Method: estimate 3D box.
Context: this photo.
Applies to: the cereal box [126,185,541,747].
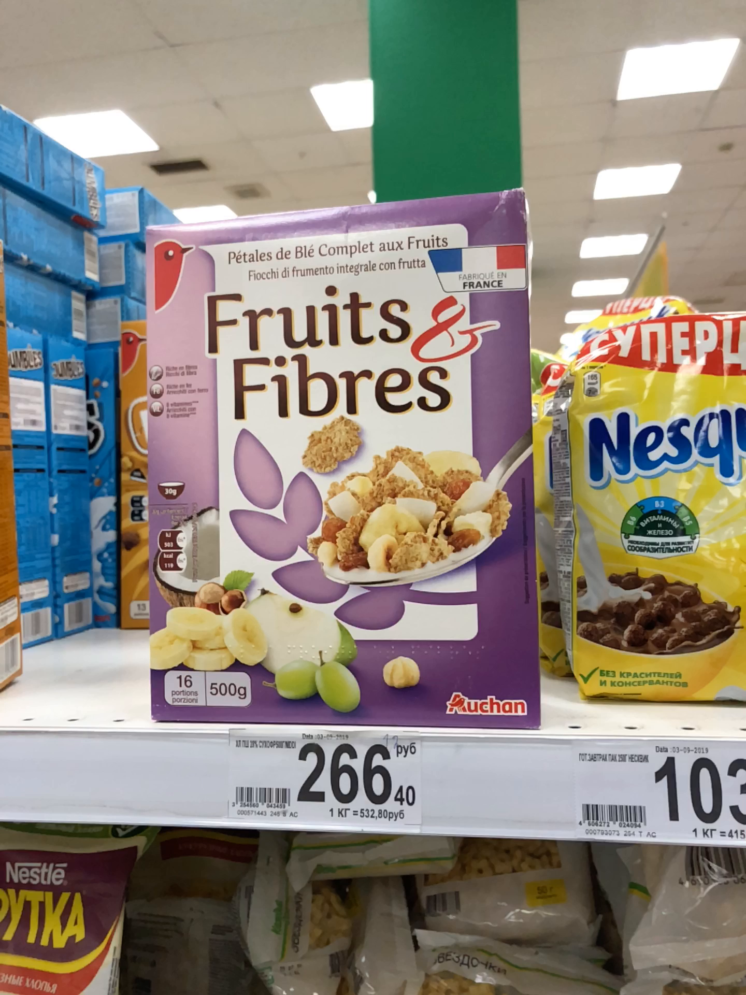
[{"bbox_3d":[-0.019,-0.013,0.429,0.200,0.260,0.060,-2,-2,11],"label":"cereal box"}]
